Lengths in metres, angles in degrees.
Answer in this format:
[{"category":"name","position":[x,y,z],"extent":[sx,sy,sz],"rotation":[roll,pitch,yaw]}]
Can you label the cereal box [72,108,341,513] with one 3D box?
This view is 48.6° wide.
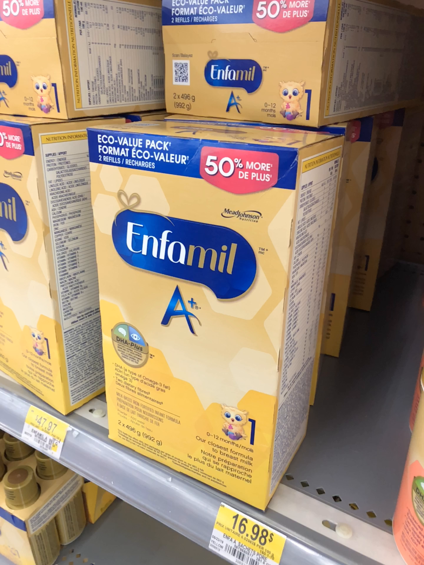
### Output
[{"category":"cereal box","position":[-0.007,0.014,0.347],"extent":[0.150,0.258,0.080],"rotation":[14,26,26]}]
